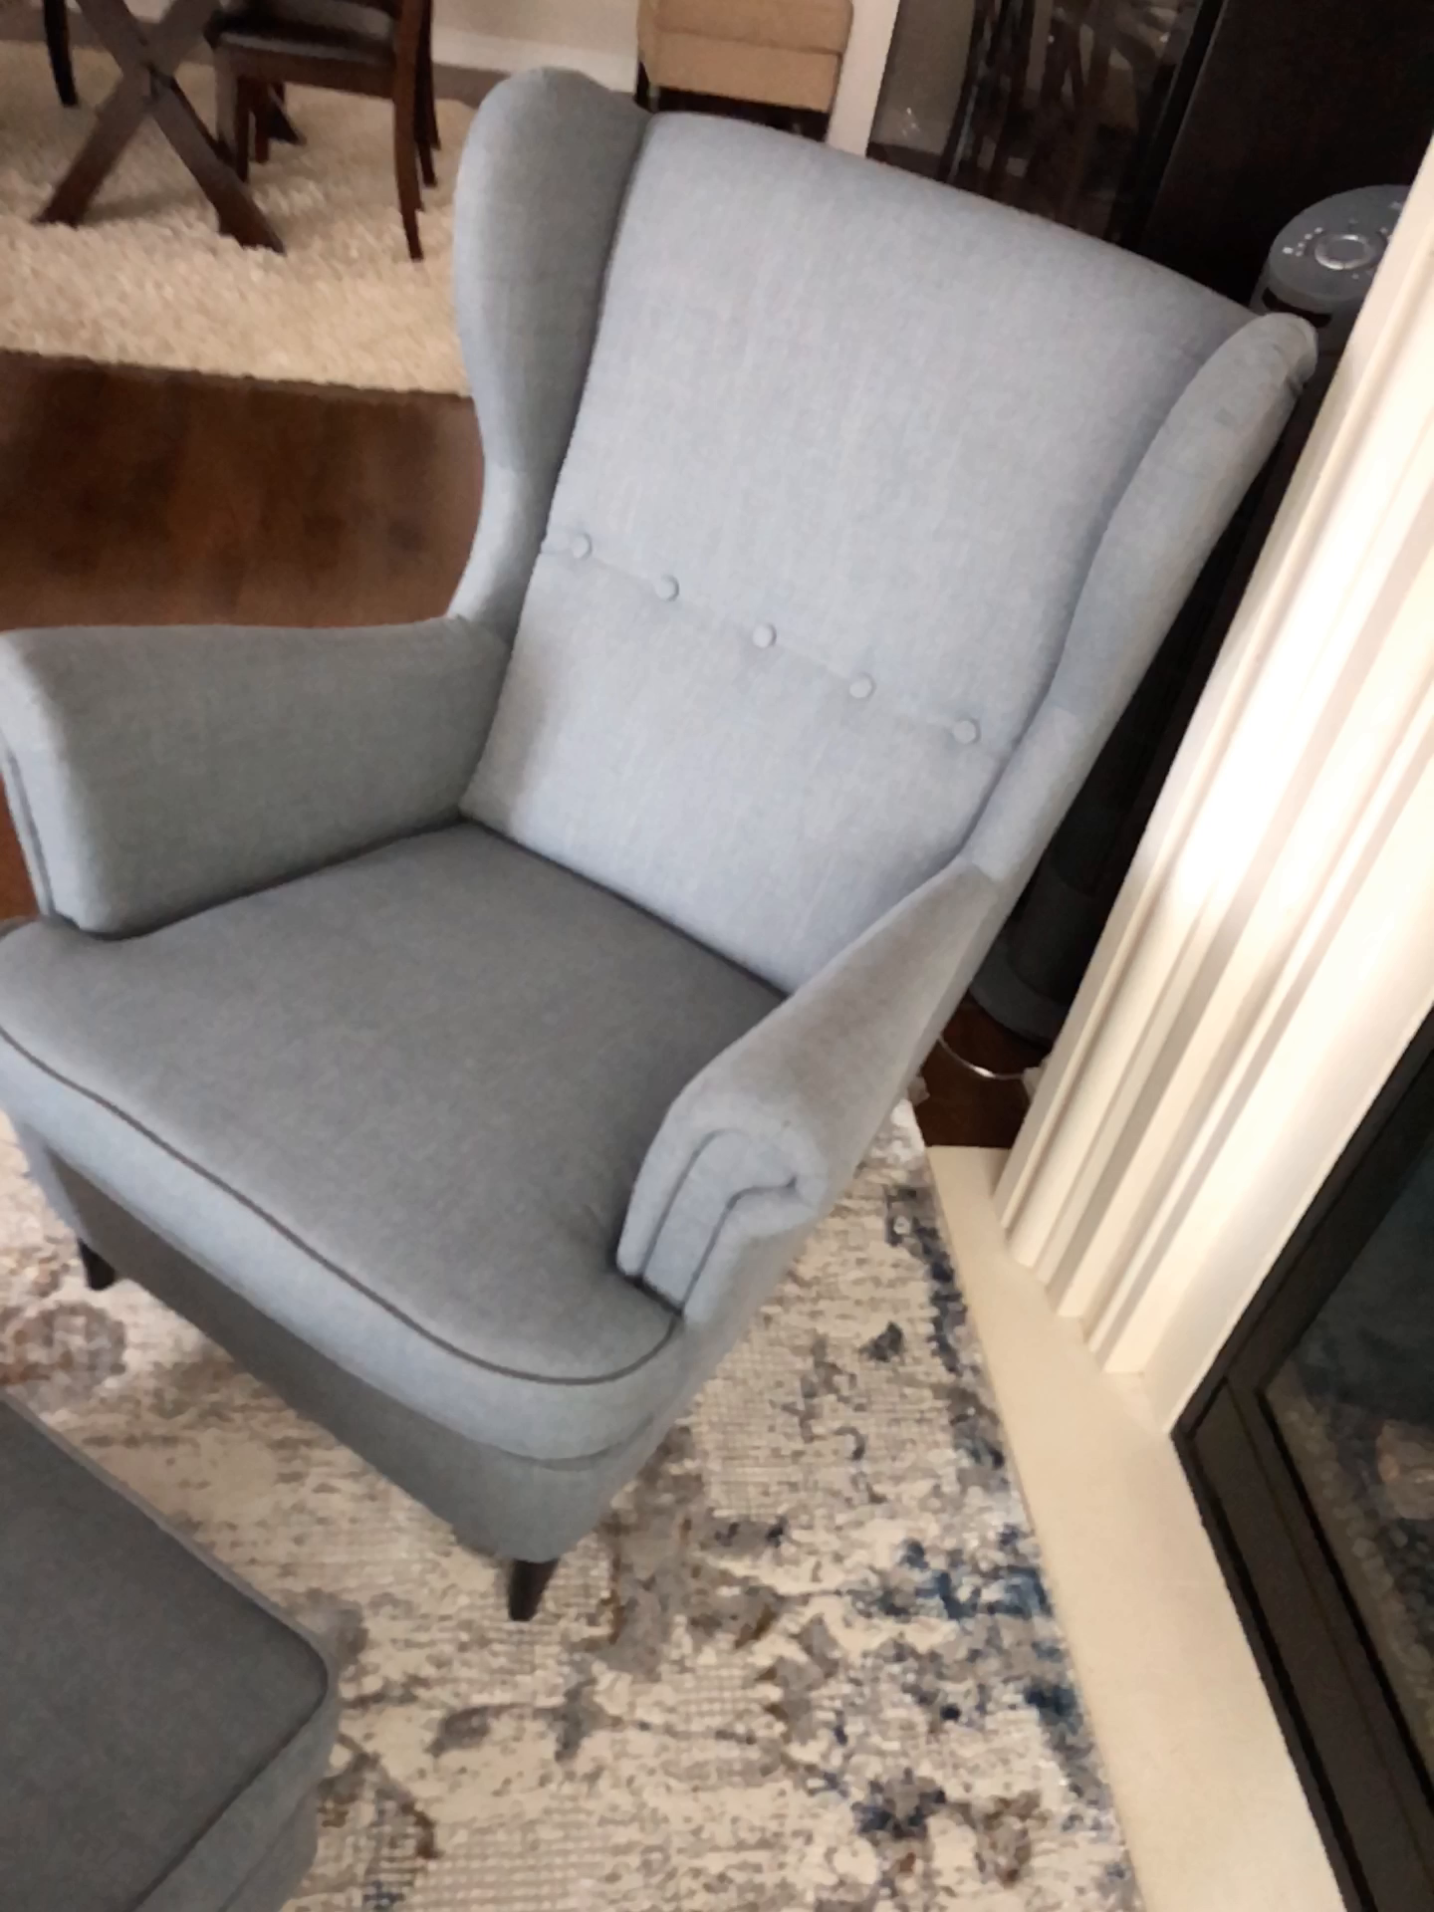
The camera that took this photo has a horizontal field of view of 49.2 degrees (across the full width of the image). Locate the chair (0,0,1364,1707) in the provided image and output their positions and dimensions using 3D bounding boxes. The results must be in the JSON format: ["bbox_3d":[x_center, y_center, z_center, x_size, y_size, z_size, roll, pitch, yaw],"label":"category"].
[{"bbox_3d":[-0.133,-0.159,1.353,0.800,0.966,0.853,28,42,19],"label":"chair"}]
